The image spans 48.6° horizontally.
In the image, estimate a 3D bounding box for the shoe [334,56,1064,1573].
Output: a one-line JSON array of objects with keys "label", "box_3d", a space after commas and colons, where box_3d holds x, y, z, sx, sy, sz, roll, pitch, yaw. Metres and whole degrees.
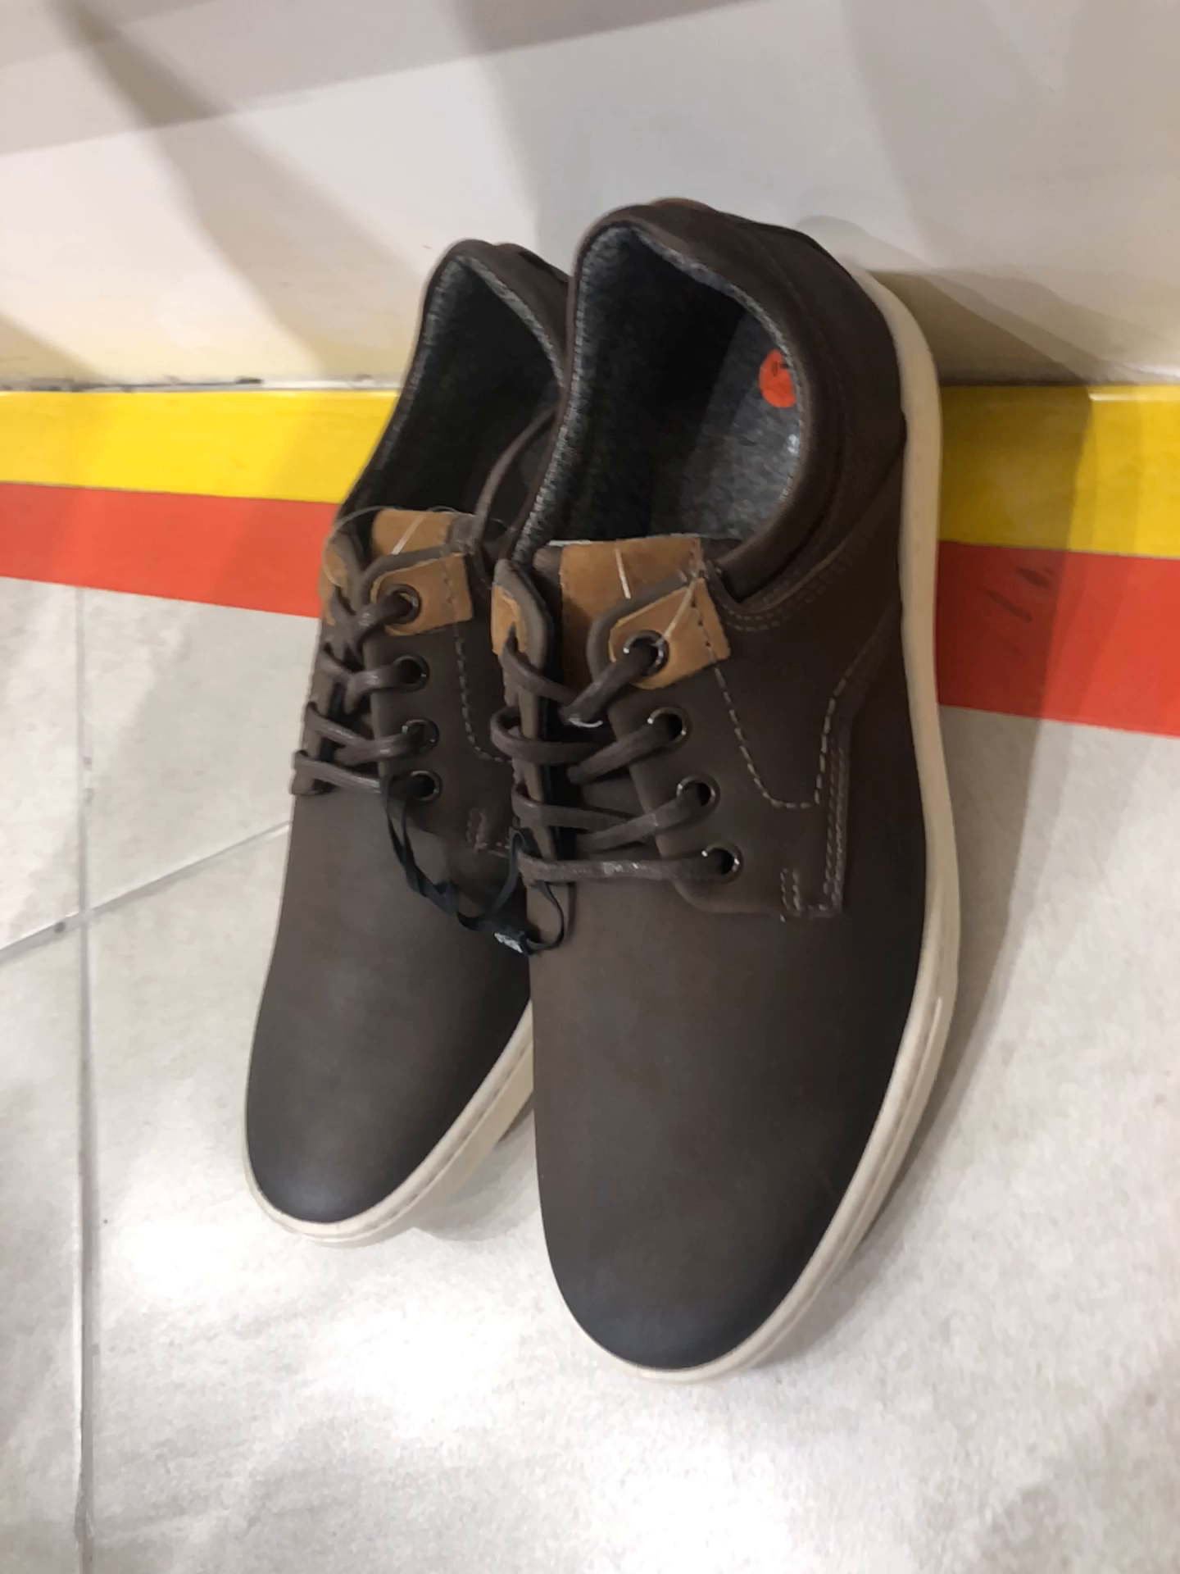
[{"label": "shoe", "box_3d": [0.030, 0.006, 0.294, 0.100, 0.100, 0.270, 5, 87, 33]}]

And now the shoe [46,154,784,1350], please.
[{"label": "shoe", "box_3d": [-0.043, -0.011, 0.356, 0.100, 0.100, 0.270, 12, 88, 34]}]
